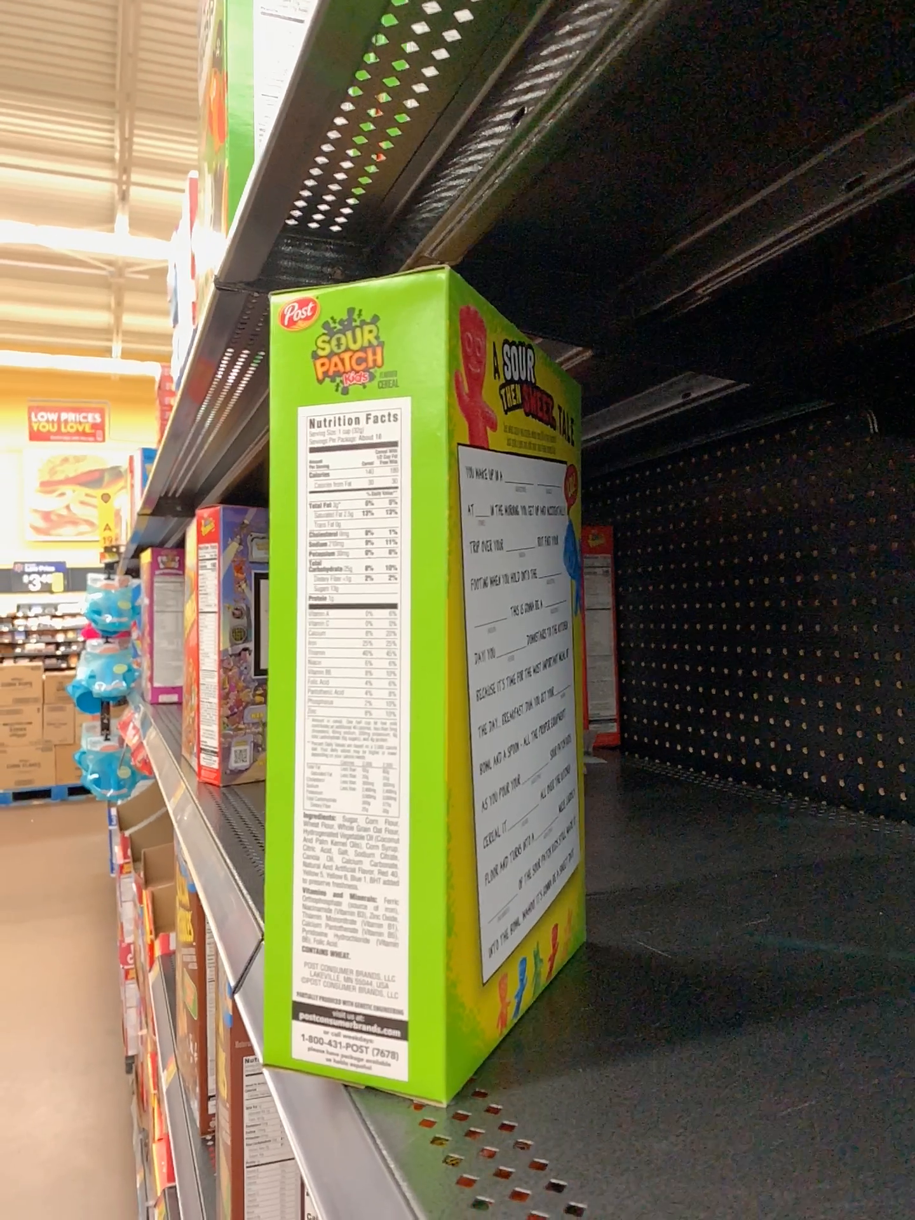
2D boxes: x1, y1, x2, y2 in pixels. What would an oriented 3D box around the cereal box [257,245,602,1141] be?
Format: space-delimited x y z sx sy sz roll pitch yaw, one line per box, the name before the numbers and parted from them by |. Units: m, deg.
cereal box | 0.000 0.028 0.434 0.080 0.310 0.200 -1 -2 23
